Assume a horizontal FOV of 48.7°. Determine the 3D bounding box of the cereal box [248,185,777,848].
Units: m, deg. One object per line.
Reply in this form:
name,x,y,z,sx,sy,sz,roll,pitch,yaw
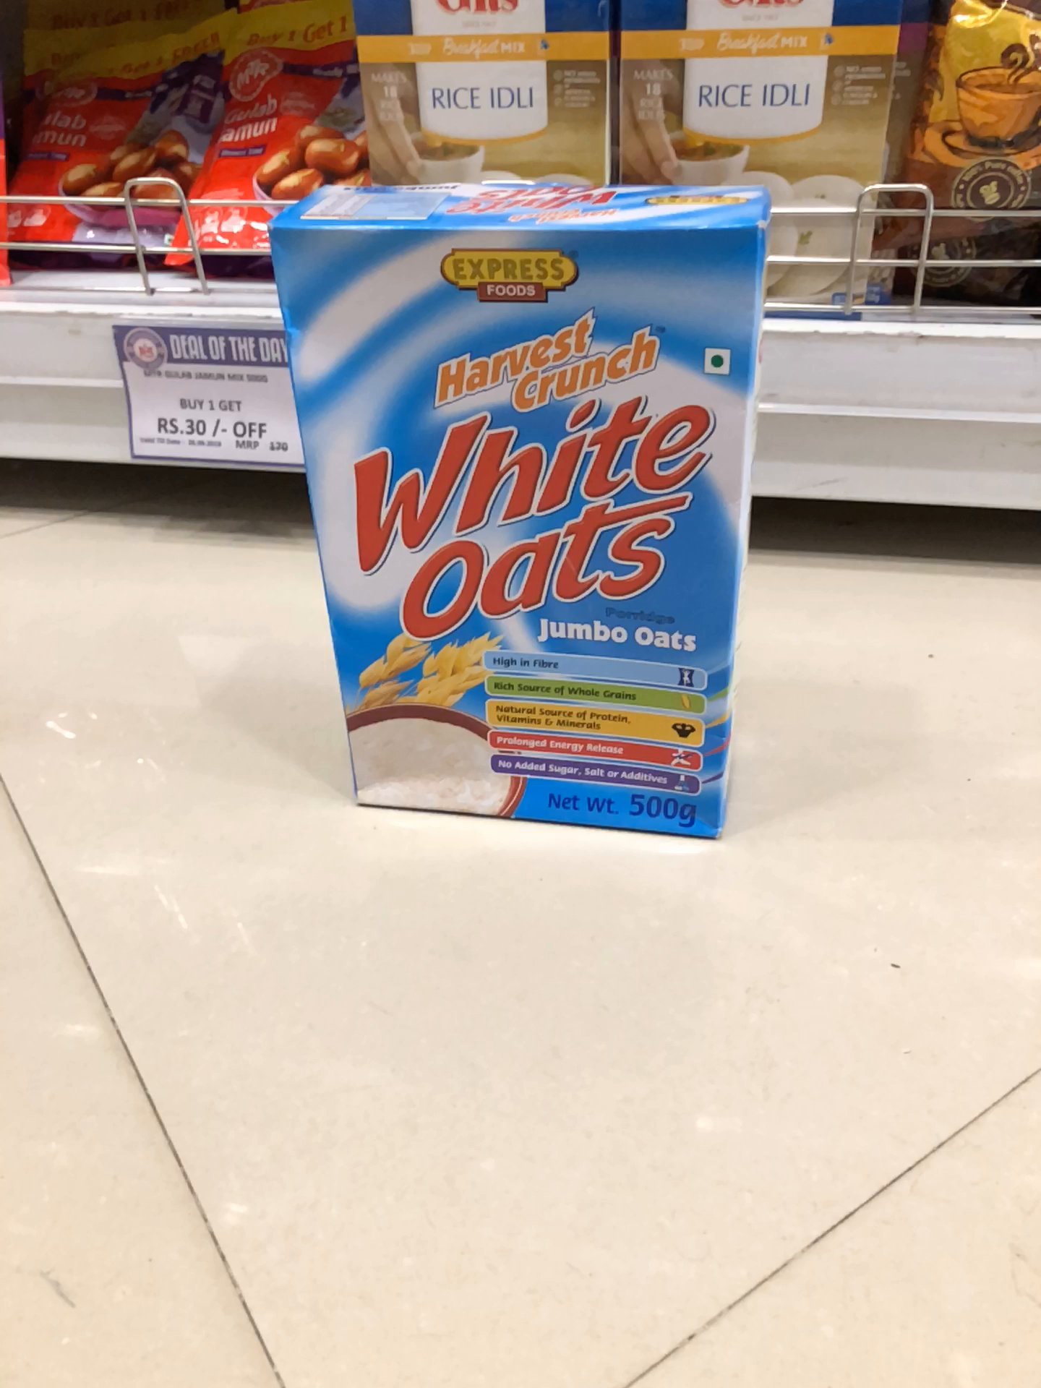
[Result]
cereal box,0.004,-0.056,0.407,0.150,0.219,0.060,5,35,11
